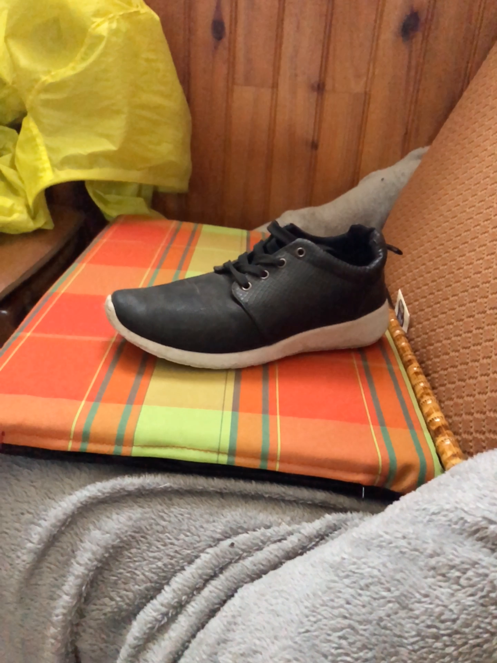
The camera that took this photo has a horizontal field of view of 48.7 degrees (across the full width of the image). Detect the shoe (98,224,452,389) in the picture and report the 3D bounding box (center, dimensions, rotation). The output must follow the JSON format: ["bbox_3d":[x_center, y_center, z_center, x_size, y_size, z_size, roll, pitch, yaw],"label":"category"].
[{"bbox_3d":[0.019,-0.032,0.464,0.267,0.080,0.110,-6,28,-19],"label":"shoe"}]
